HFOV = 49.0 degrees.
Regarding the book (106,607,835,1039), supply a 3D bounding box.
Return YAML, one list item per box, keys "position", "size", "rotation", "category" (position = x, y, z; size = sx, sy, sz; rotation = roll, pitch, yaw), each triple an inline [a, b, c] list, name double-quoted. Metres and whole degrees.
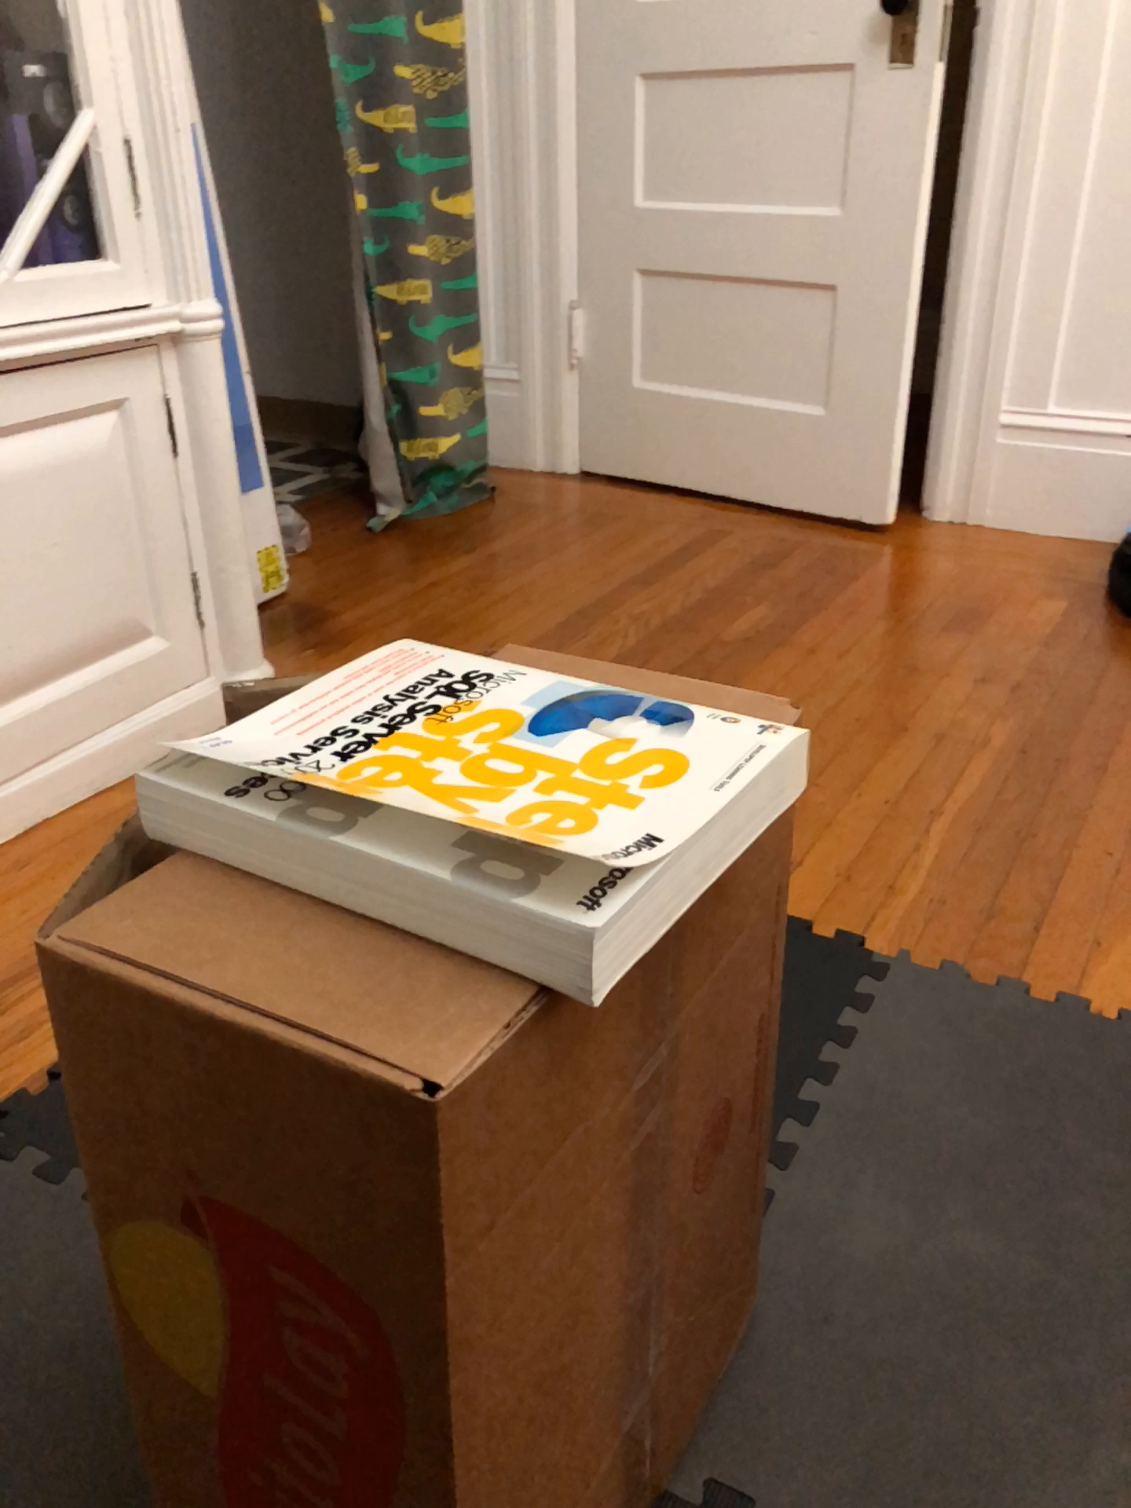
- position: [-0.032, 0.009, 0.538]
  size: [0.240, 0.050, 0.201]
  rotation: [11, 31, 26]
  category: "book"
